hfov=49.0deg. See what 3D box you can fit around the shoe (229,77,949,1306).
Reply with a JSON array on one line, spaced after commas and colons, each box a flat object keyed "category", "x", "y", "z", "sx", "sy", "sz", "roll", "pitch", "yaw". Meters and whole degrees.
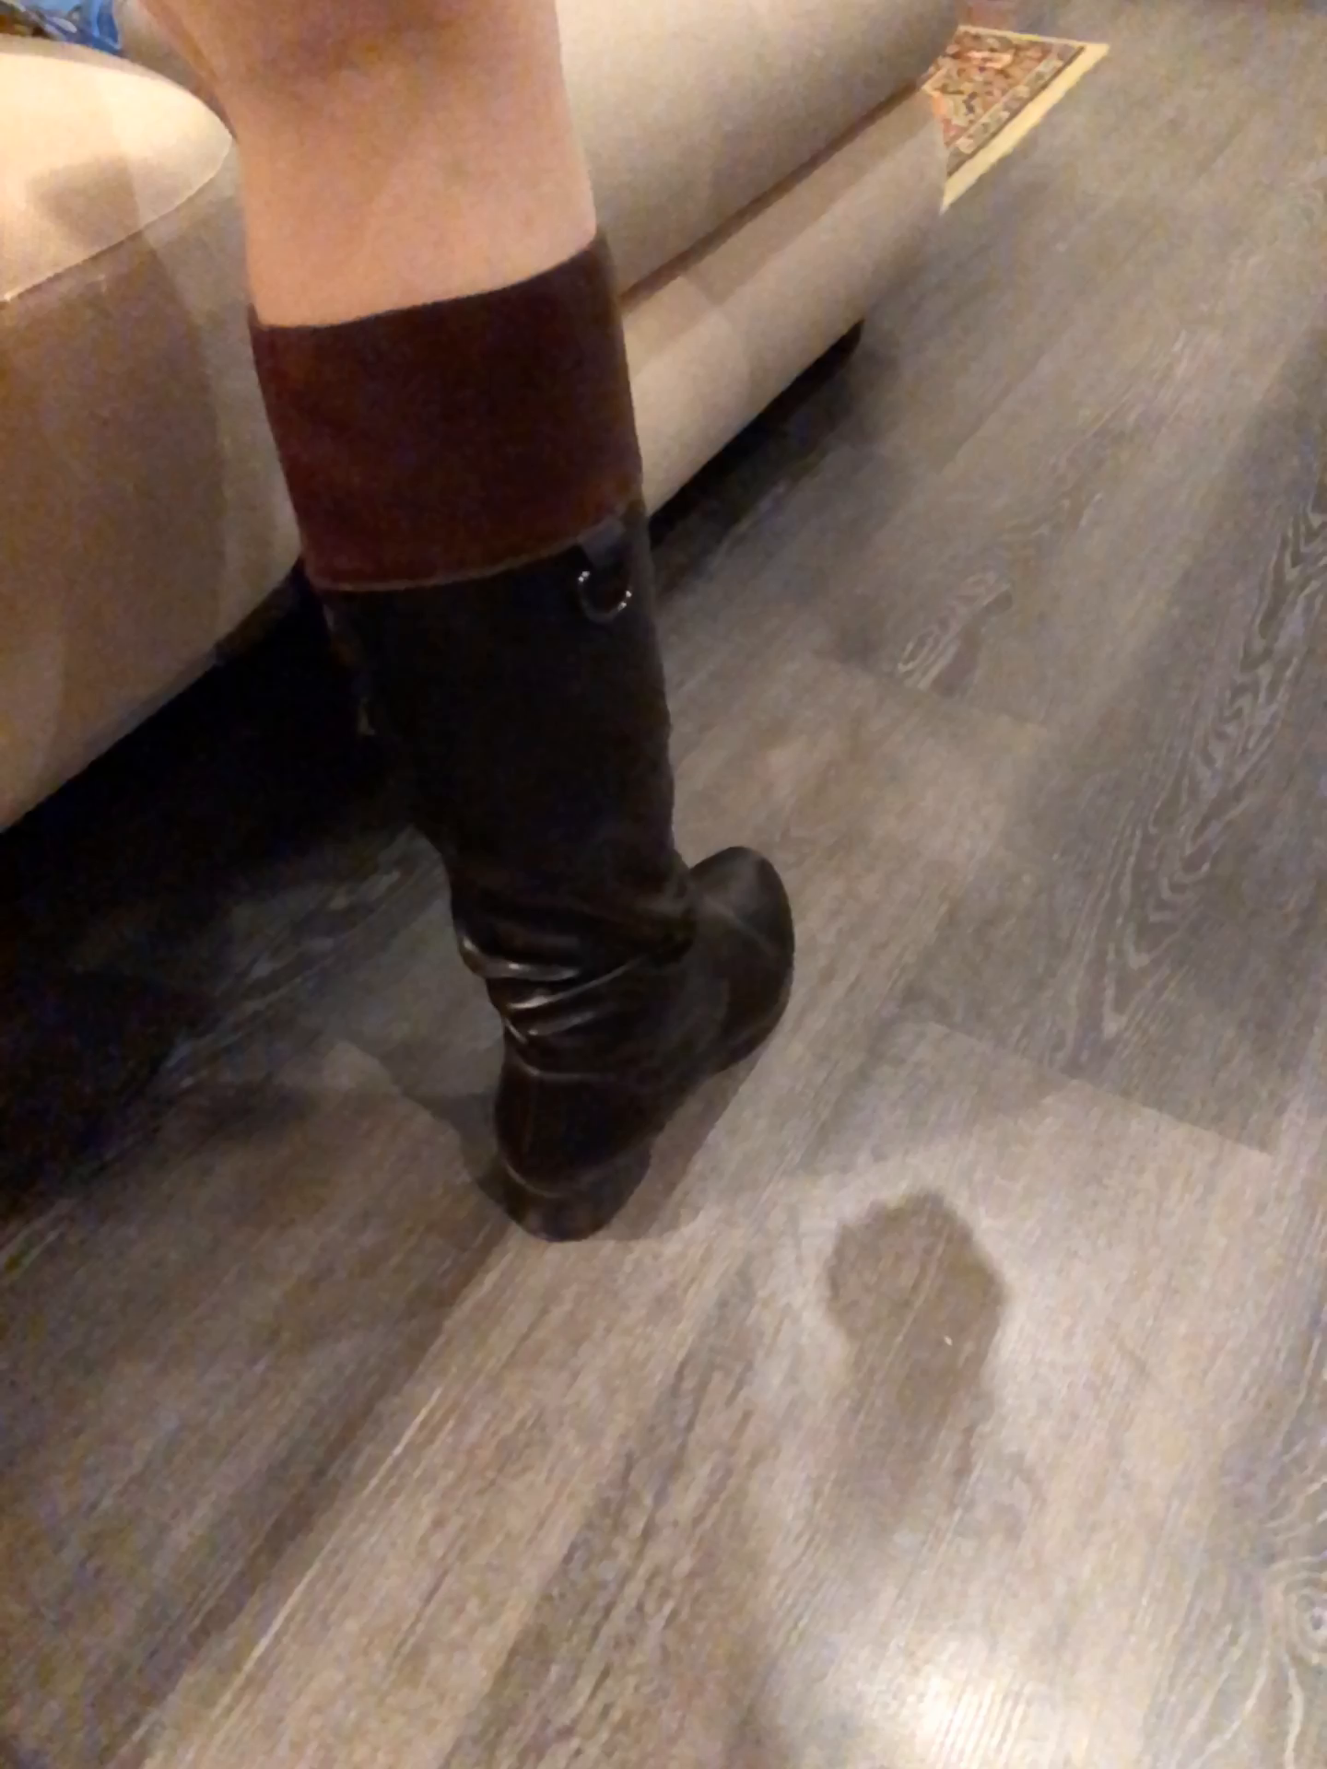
[{"category": "shoe", "x": -0.004, "y": -0.065, "z": 0.609, "sx": 0.110, "sy": 0.417, "sz": 0.271, "roll": 19, "pitch": 47, "yaw": 20}]
